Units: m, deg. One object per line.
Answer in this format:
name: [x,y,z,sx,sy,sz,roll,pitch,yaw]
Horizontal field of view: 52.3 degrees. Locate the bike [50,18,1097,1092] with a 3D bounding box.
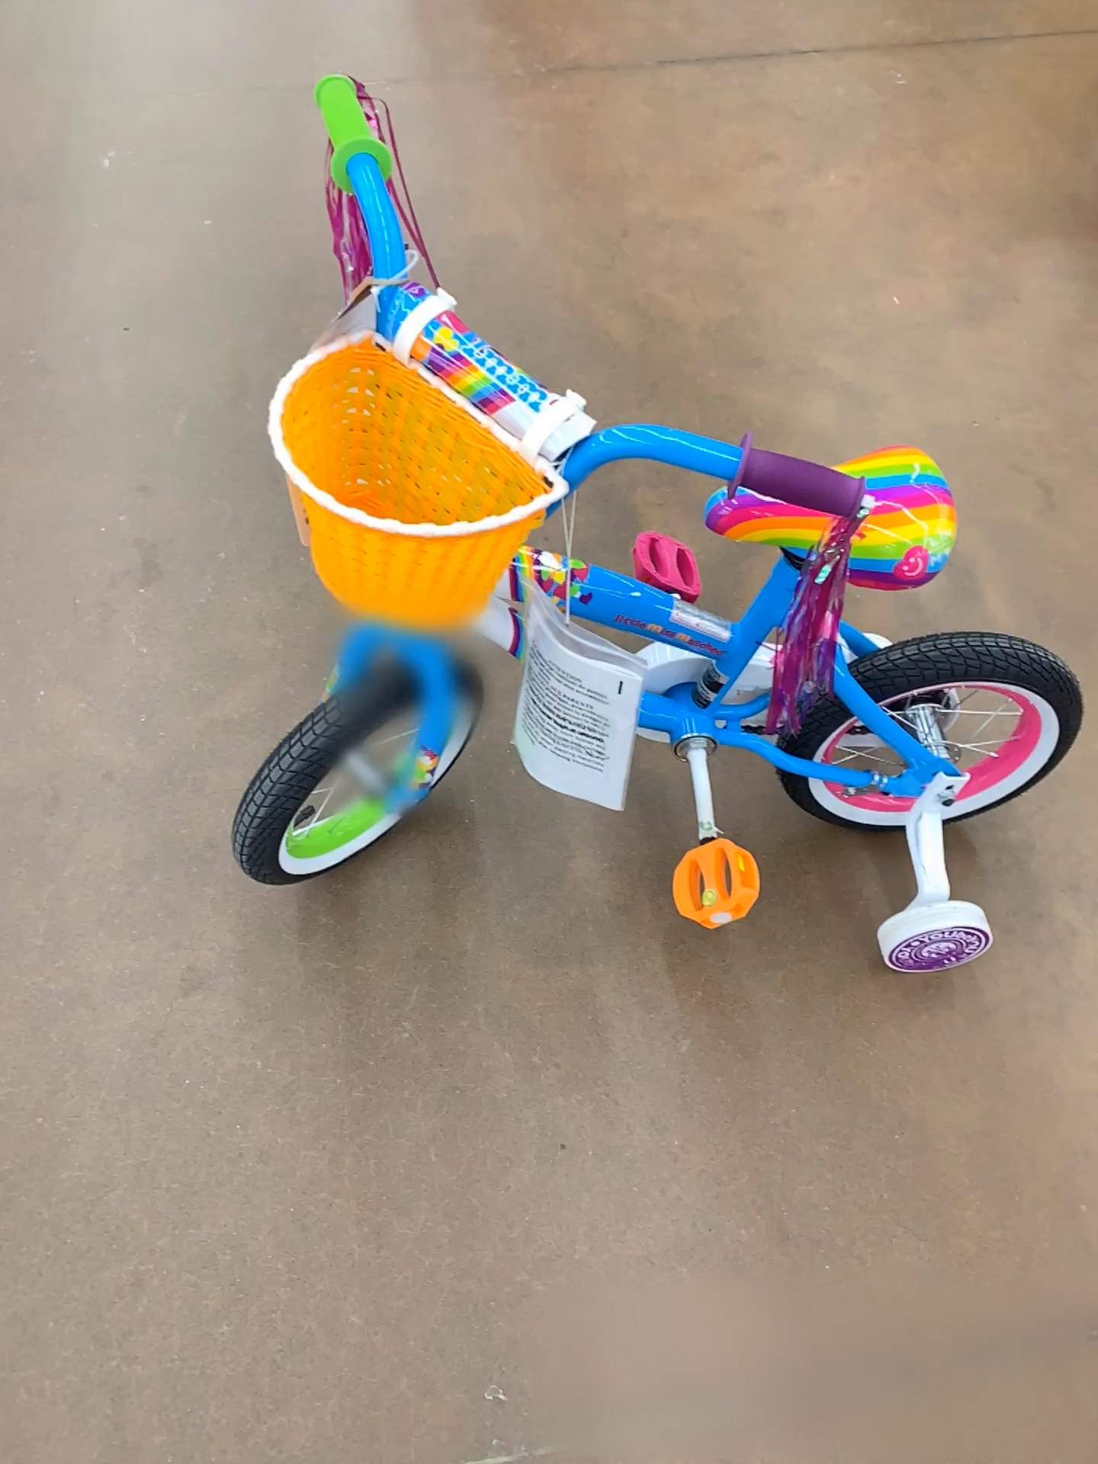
bike: [0.114,-0.144,0.976,0.816,0.664,0.554,-8,53,-10]
